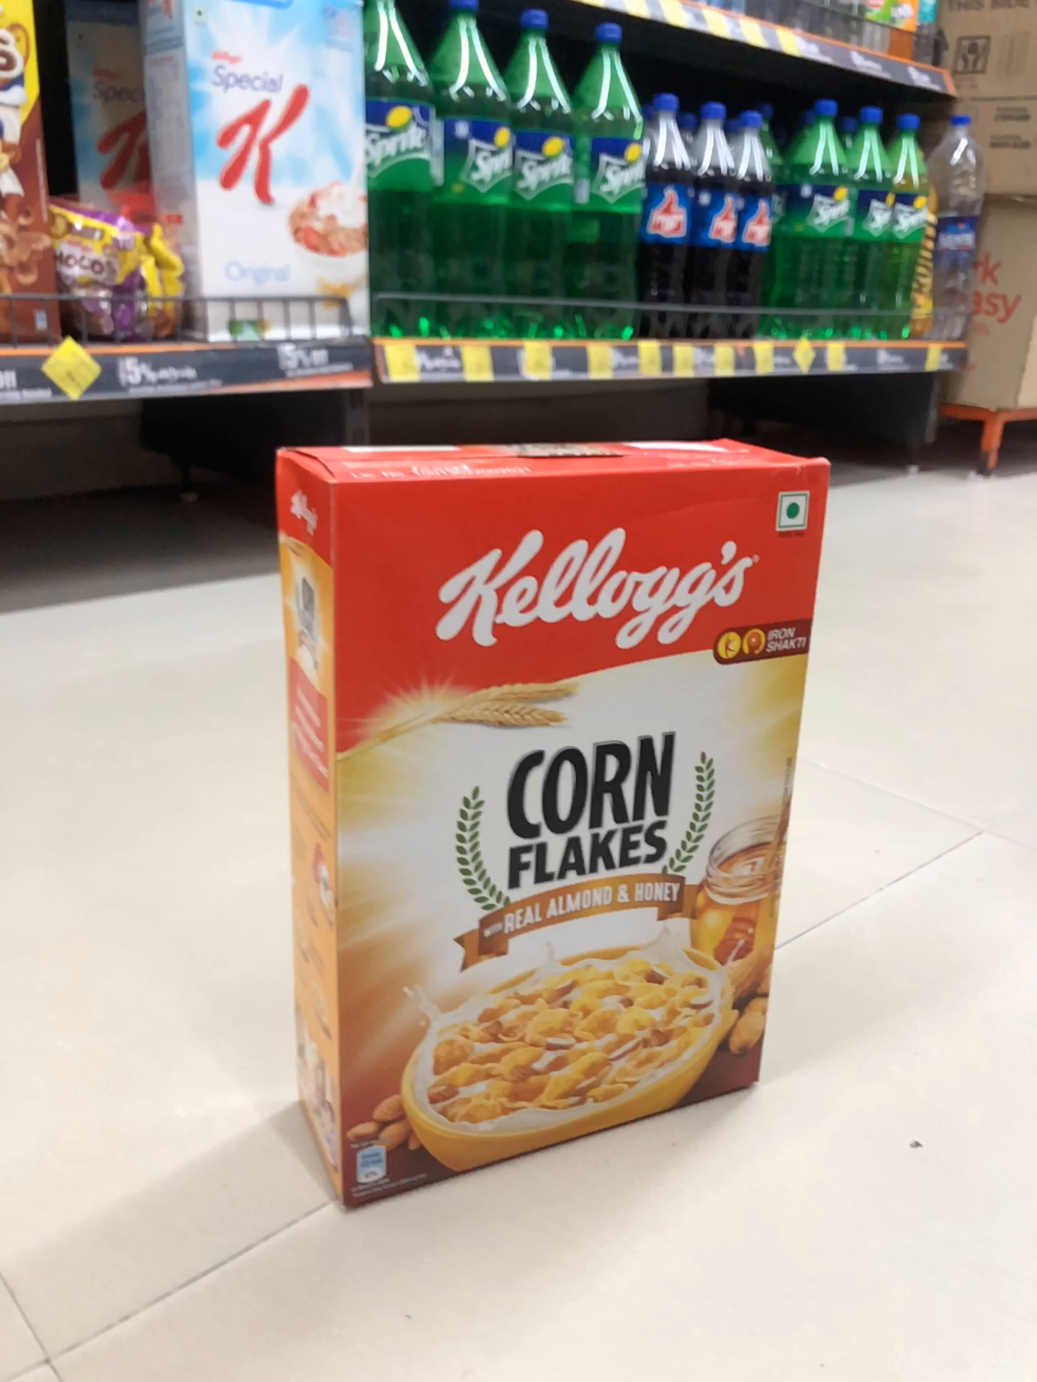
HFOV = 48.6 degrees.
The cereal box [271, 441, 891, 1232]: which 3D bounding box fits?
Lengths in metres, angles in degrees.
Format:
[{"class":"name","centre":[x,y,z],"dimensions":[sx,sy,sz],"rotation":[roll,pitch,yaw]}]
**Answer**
[{"class":"cereal box","centre":[0.017,0.043,0.413],"dimensions":[0.190,0.249,0.070],"rotation":[-7,22,-25]}]
